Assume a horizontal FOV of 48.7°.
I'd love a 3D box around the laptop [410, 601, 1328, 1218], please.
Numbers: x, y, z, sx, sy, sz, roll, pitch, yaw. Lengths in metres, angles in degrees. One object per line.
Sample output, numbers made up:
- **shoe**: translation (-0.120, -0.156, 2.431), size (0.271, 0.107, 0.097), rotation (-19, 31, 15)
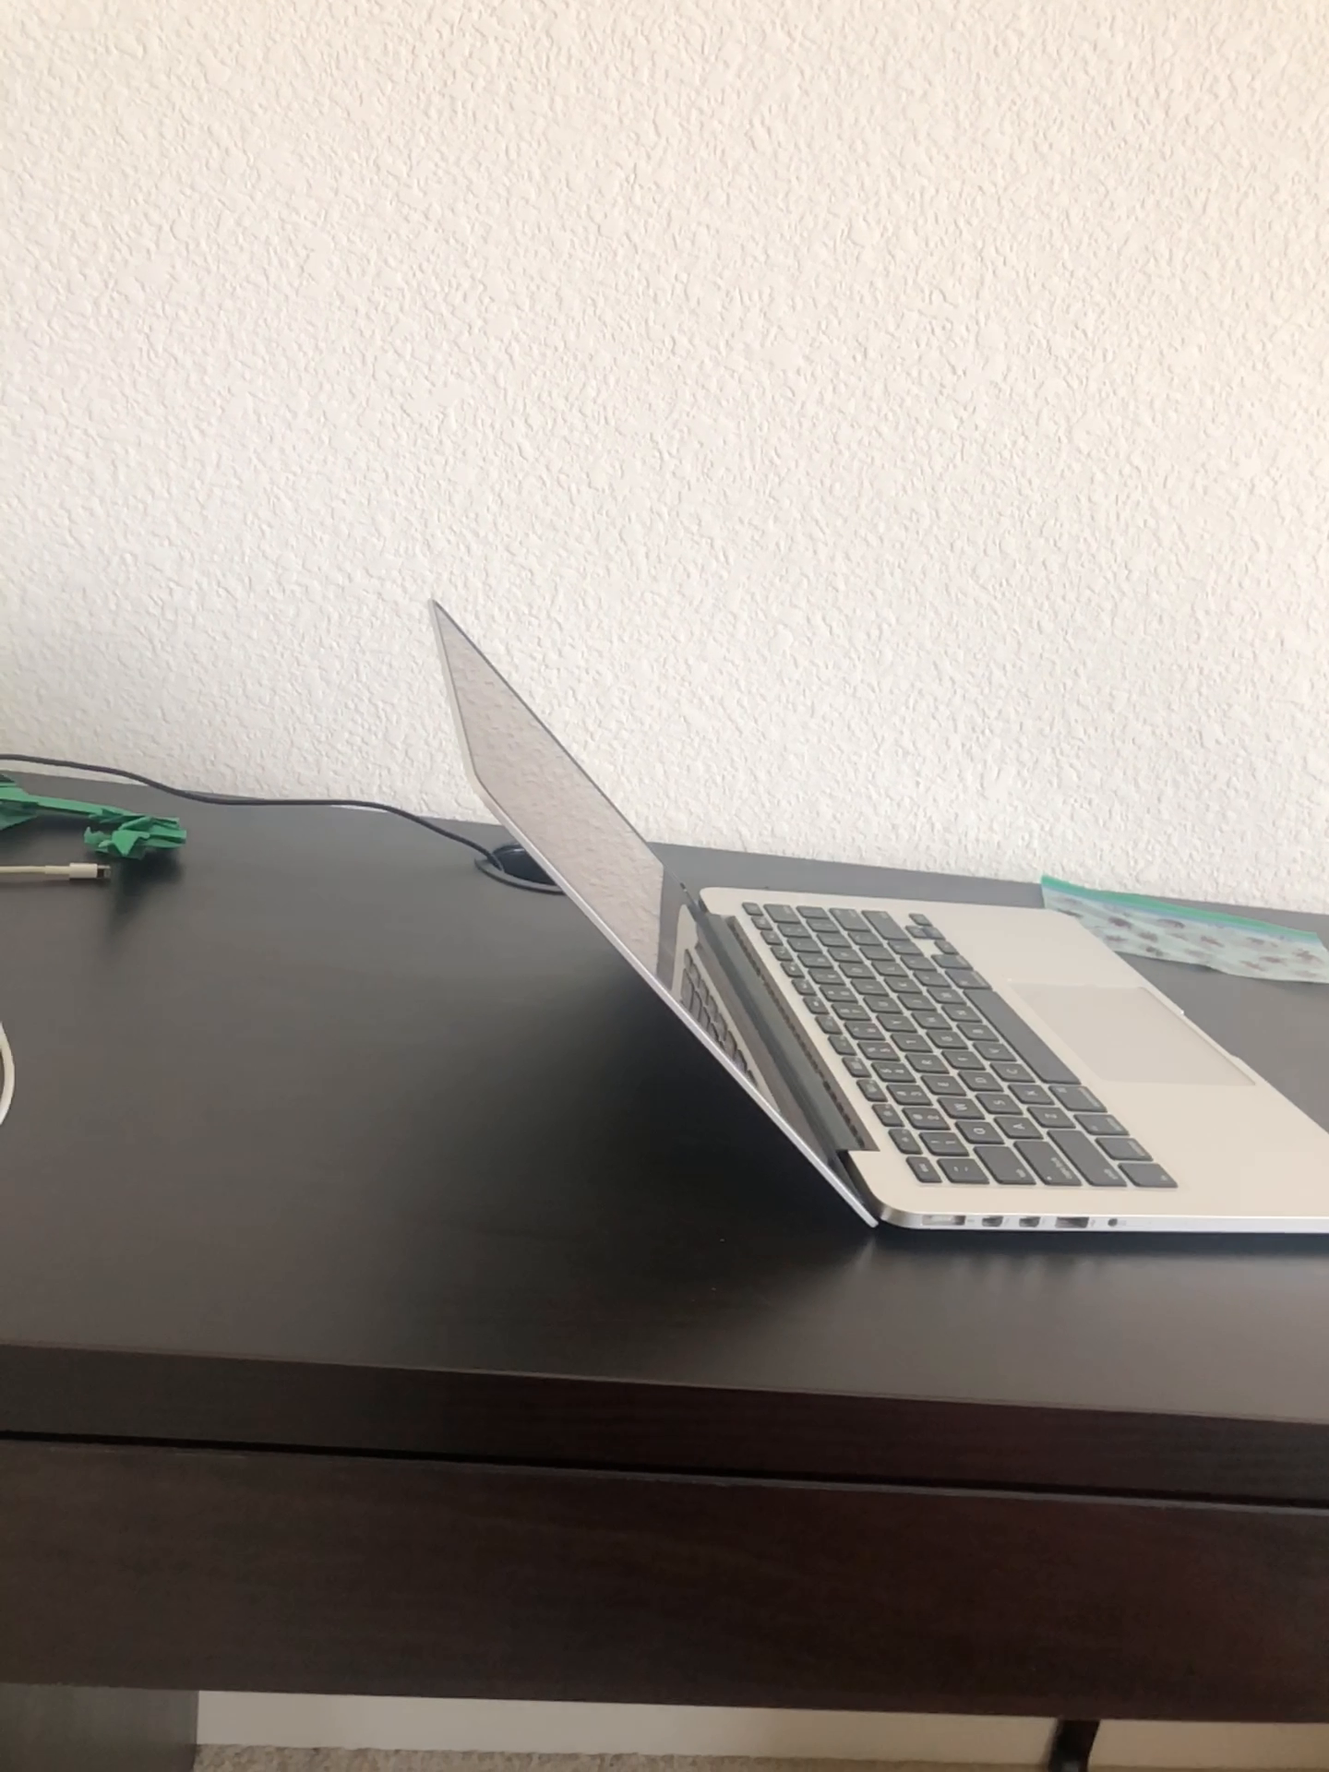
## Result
- **laptop**: translation (0.085, -0.007, 0.627), size (0.362, 0.133, 0.309), rotation (4, 20, -12)
